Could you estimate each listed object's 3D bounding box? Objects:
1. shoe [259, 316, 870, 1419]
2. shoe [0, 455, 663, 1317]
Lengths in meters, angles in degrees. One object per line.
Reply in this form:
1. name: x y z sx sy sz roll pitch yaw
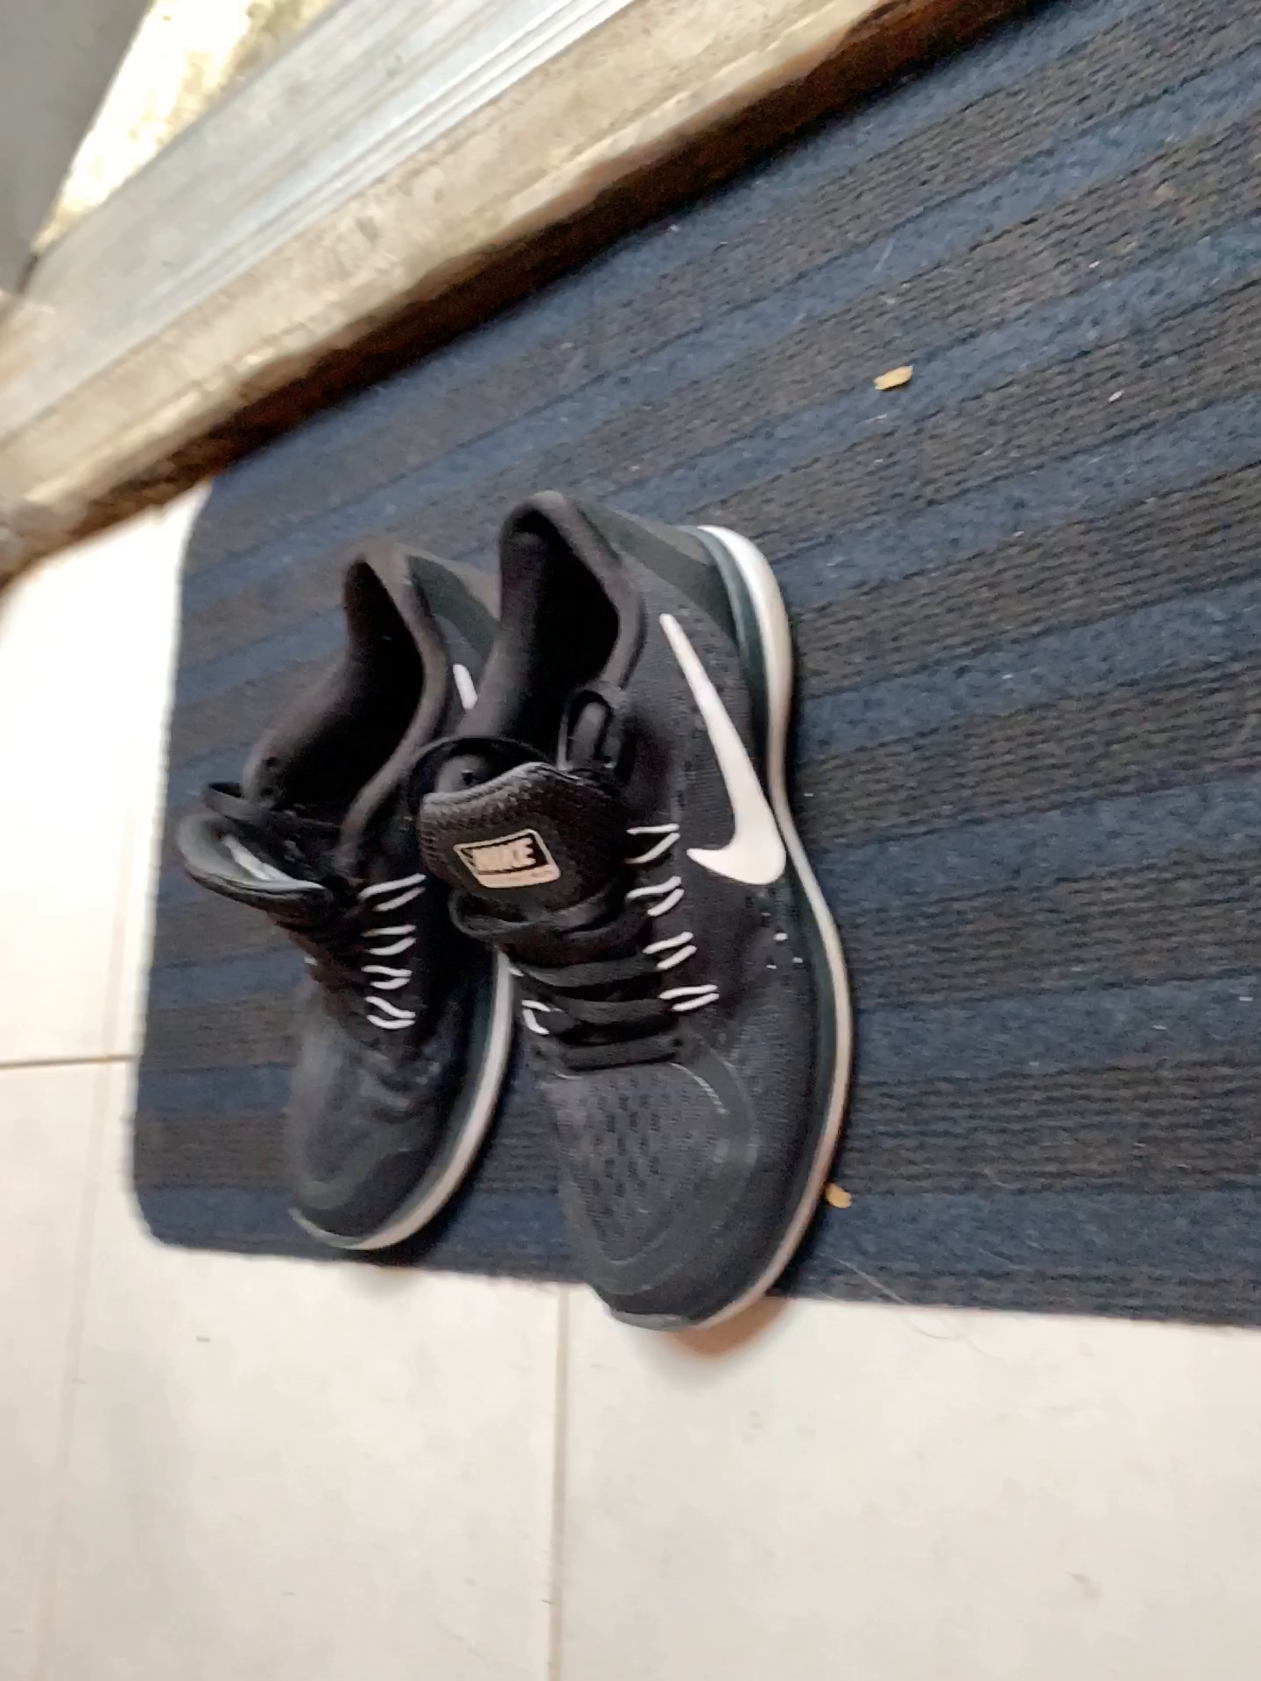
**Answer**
1. shoe: -0.010 0.012 0.363 0.107 0.118 0.248 -8 74 38
2. shoe: -0.100 0.014 0.439 0.105 0.118 0.248 17 90 41
